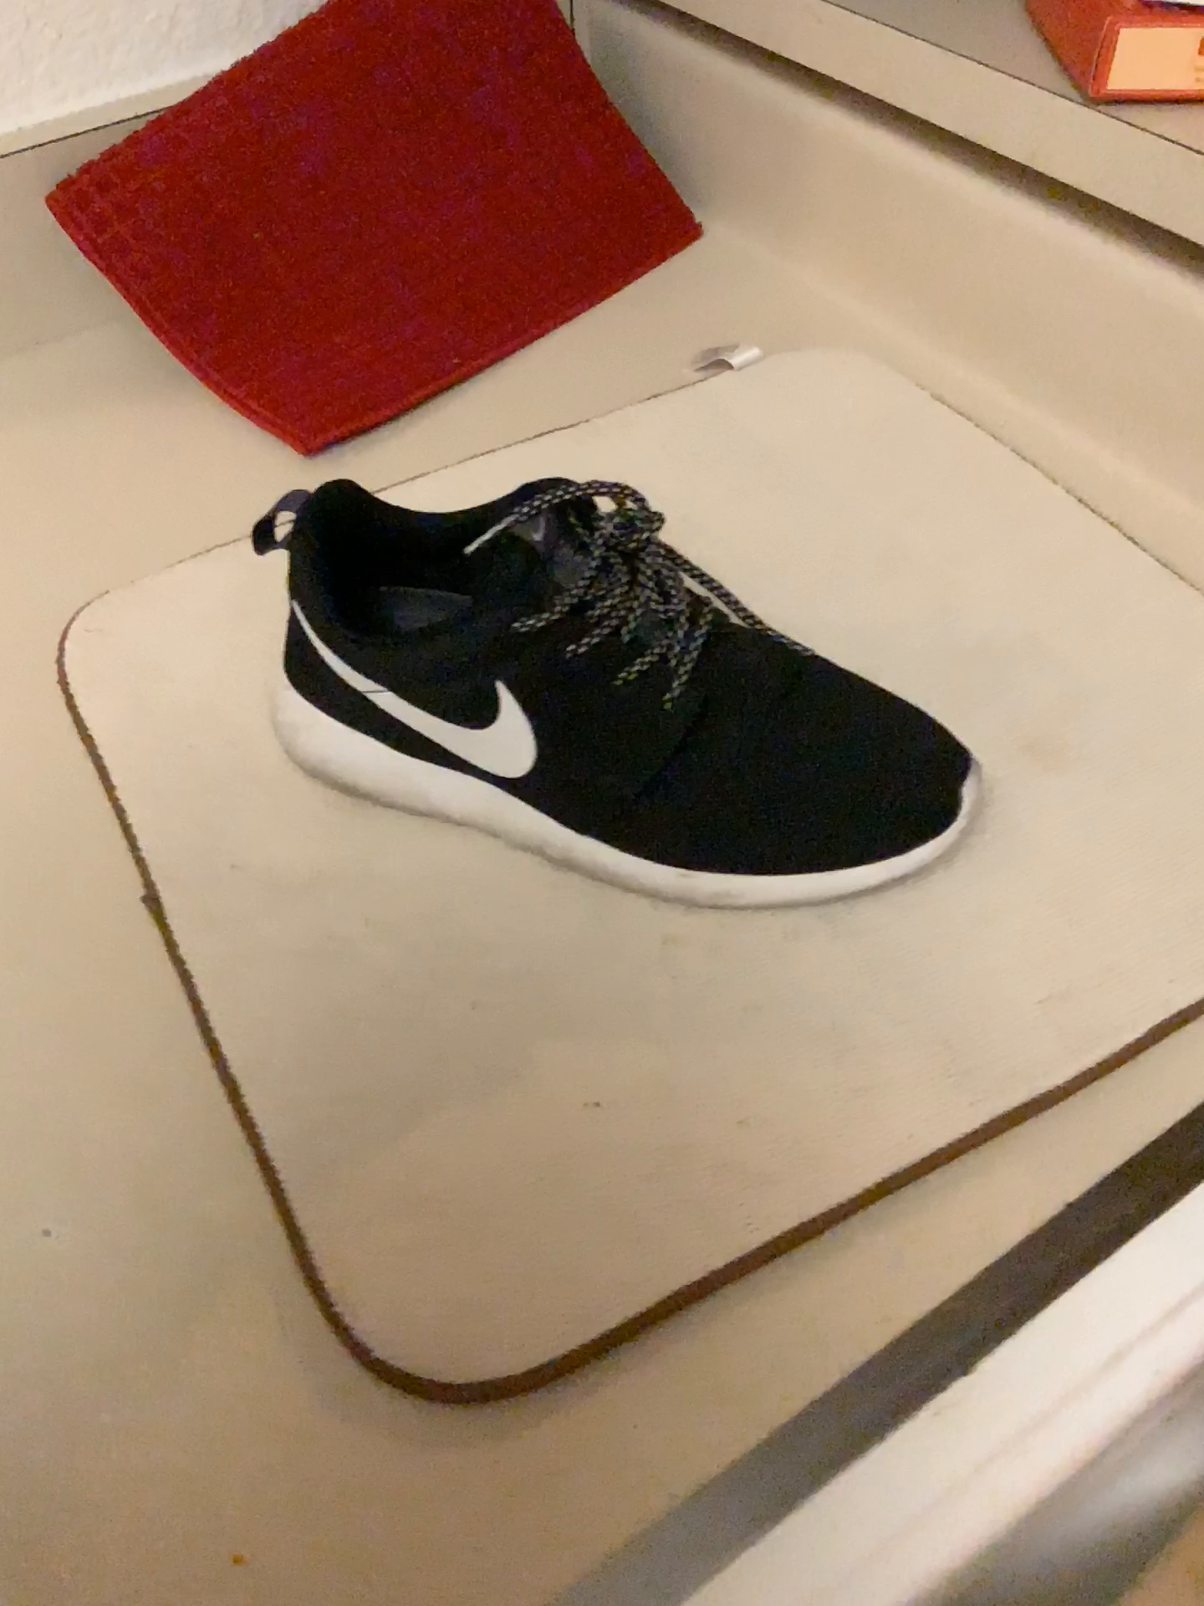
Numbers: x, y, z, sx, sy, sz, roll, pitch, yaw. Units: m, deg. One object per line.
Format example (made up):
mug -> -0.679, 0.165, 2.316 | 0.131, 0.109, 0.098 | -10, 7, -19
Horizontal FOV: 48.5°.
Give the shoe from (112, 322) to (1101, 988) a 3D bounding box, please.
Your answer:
shoe -> 0.006, -0.059, 0.461 | 0.280, 0.120, 0.130 | 14, 51, 15
